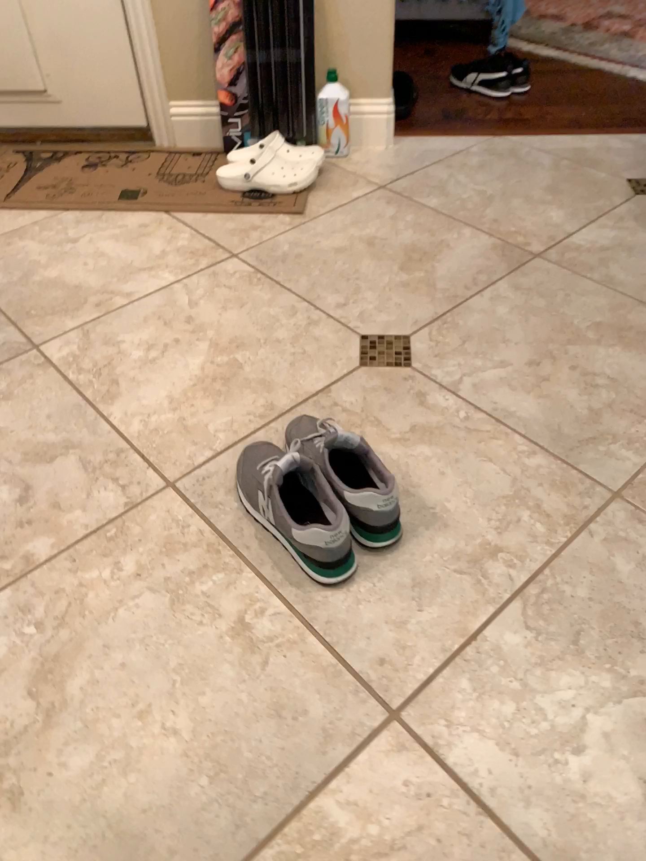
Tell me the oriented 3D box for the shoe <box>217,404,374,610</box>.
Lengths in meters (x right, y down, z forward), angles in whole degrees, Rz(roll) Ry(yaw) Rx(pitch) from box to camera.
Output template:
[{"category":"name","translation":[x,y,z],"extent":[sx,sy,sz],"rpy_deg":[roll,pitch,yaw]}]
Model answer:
[{"category":"shoe","translation":[-0.046,0.102,0.976],"extent":[0.115,0.103,0.285],"rpy_deg":[-20,47,-17]}]

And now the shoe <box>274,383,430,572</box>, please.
[{"category":"shoe","translation":[0.036,0.063,1.020],"extent":[0.115,0.103,0.275],"rpy_deg":[-20,47,-17]}]
